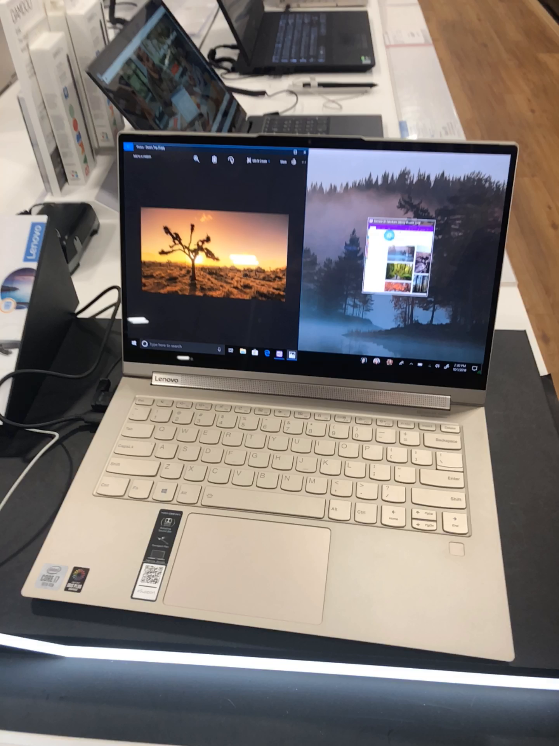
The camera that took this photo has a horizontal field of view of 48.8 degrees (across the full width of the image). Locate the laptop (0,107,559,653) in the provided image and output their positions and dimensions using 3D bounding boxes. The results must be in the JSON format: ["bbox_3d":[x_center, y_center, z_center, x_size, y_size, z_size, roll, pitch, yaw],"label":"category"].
[{"bbox_3d":[0.002,-0.028,0.451,0.320,0.170,0.327,5,48,8],"label":"laptop"}]
